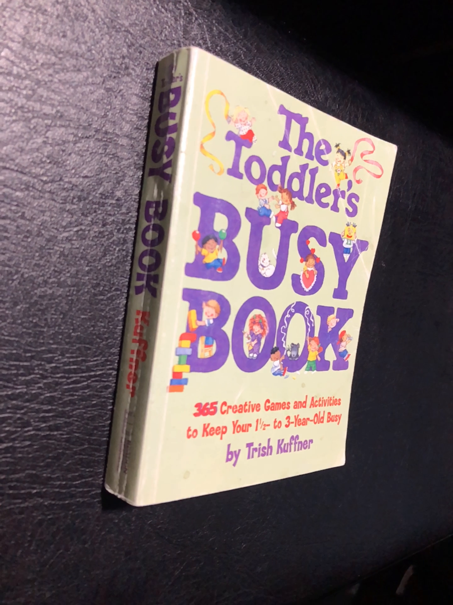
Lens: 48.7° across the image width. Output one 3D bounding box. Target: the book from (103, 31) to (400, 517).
[{"bbox_3d":[0.021,-0.006,0.237,0.136,0.033,0.176,6,91,-41],"label":"book"}]
